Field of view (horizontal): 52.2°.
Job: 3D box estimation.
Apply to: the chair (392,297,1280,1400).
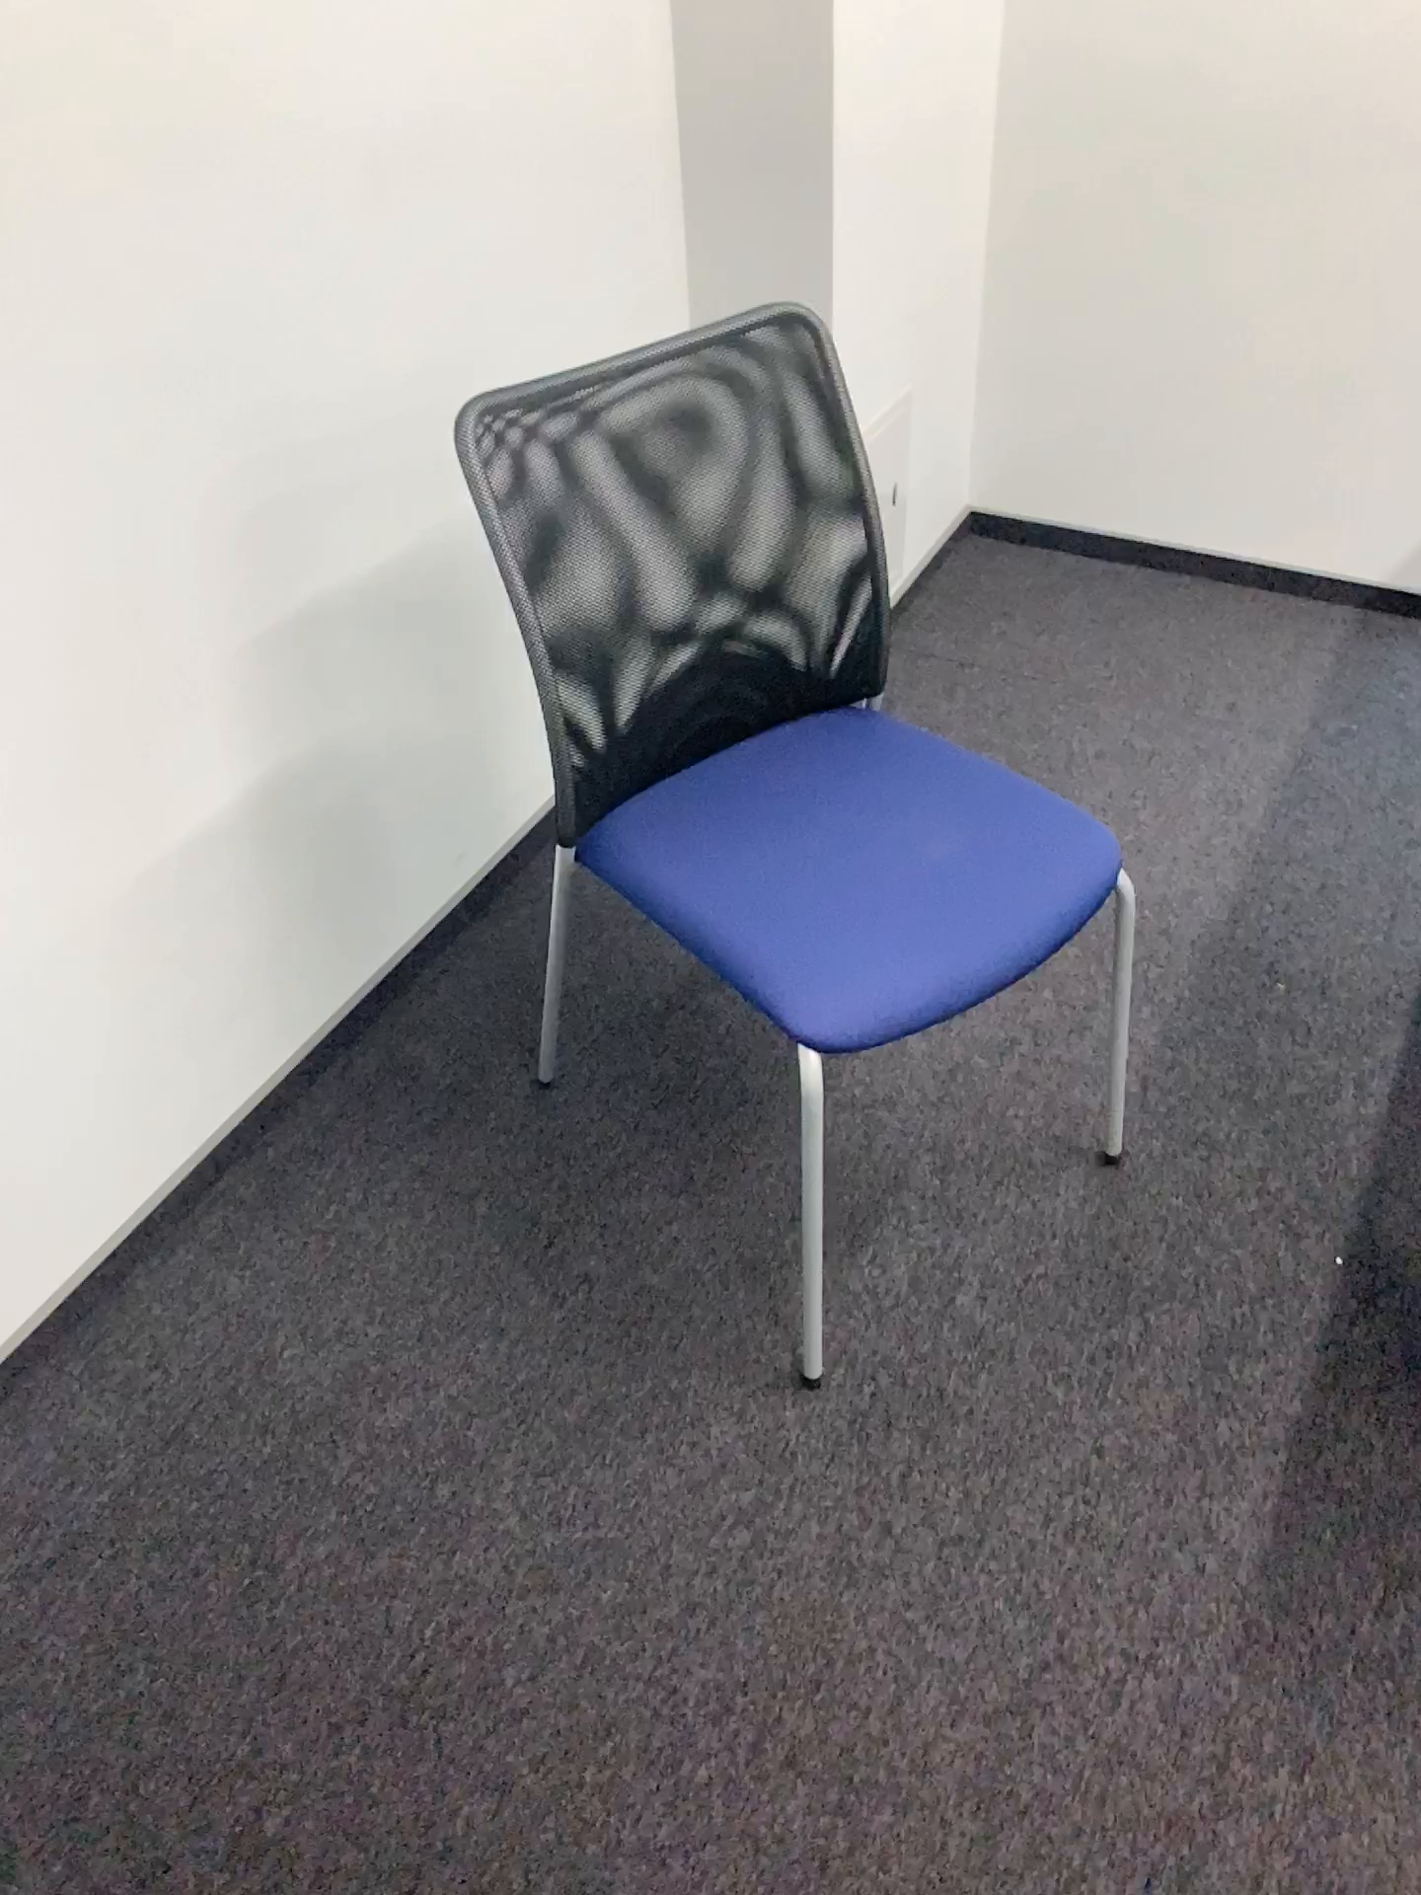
[{"bbox_3d":[0.105,-0.104,1.526,0.491,0.865,0.592,-28,47,-25],"label":"chair"}]
